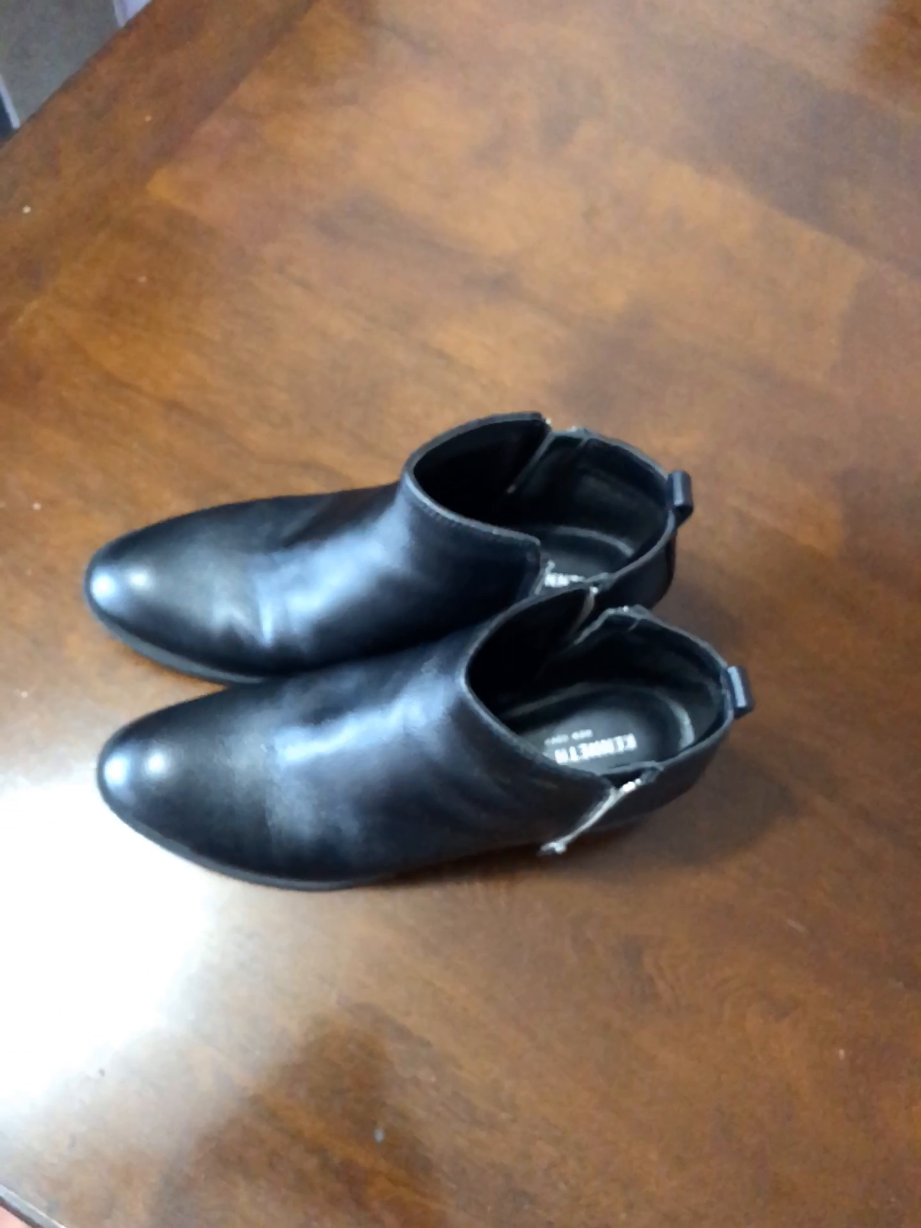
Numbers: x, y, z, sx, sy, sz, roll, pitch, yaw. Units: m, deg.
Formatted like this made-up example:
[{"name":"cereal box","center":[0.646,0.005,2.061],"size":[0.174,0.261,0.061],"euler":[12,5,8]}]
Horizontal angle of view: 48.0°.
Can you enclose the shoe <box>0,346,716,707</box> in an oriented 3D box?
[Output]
[{"name":"shoe","center":[-0.042,-0.029,0.447],"size":[0.260,0.130,0.100],"euler":[1,68,-4]}]

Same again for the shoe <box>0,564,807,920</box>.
[{"name":"shoe","center":[-0.023,0.055,0.406],"size":[0.260,0.130,0.100],"euler":[-1,68,-5]}]
